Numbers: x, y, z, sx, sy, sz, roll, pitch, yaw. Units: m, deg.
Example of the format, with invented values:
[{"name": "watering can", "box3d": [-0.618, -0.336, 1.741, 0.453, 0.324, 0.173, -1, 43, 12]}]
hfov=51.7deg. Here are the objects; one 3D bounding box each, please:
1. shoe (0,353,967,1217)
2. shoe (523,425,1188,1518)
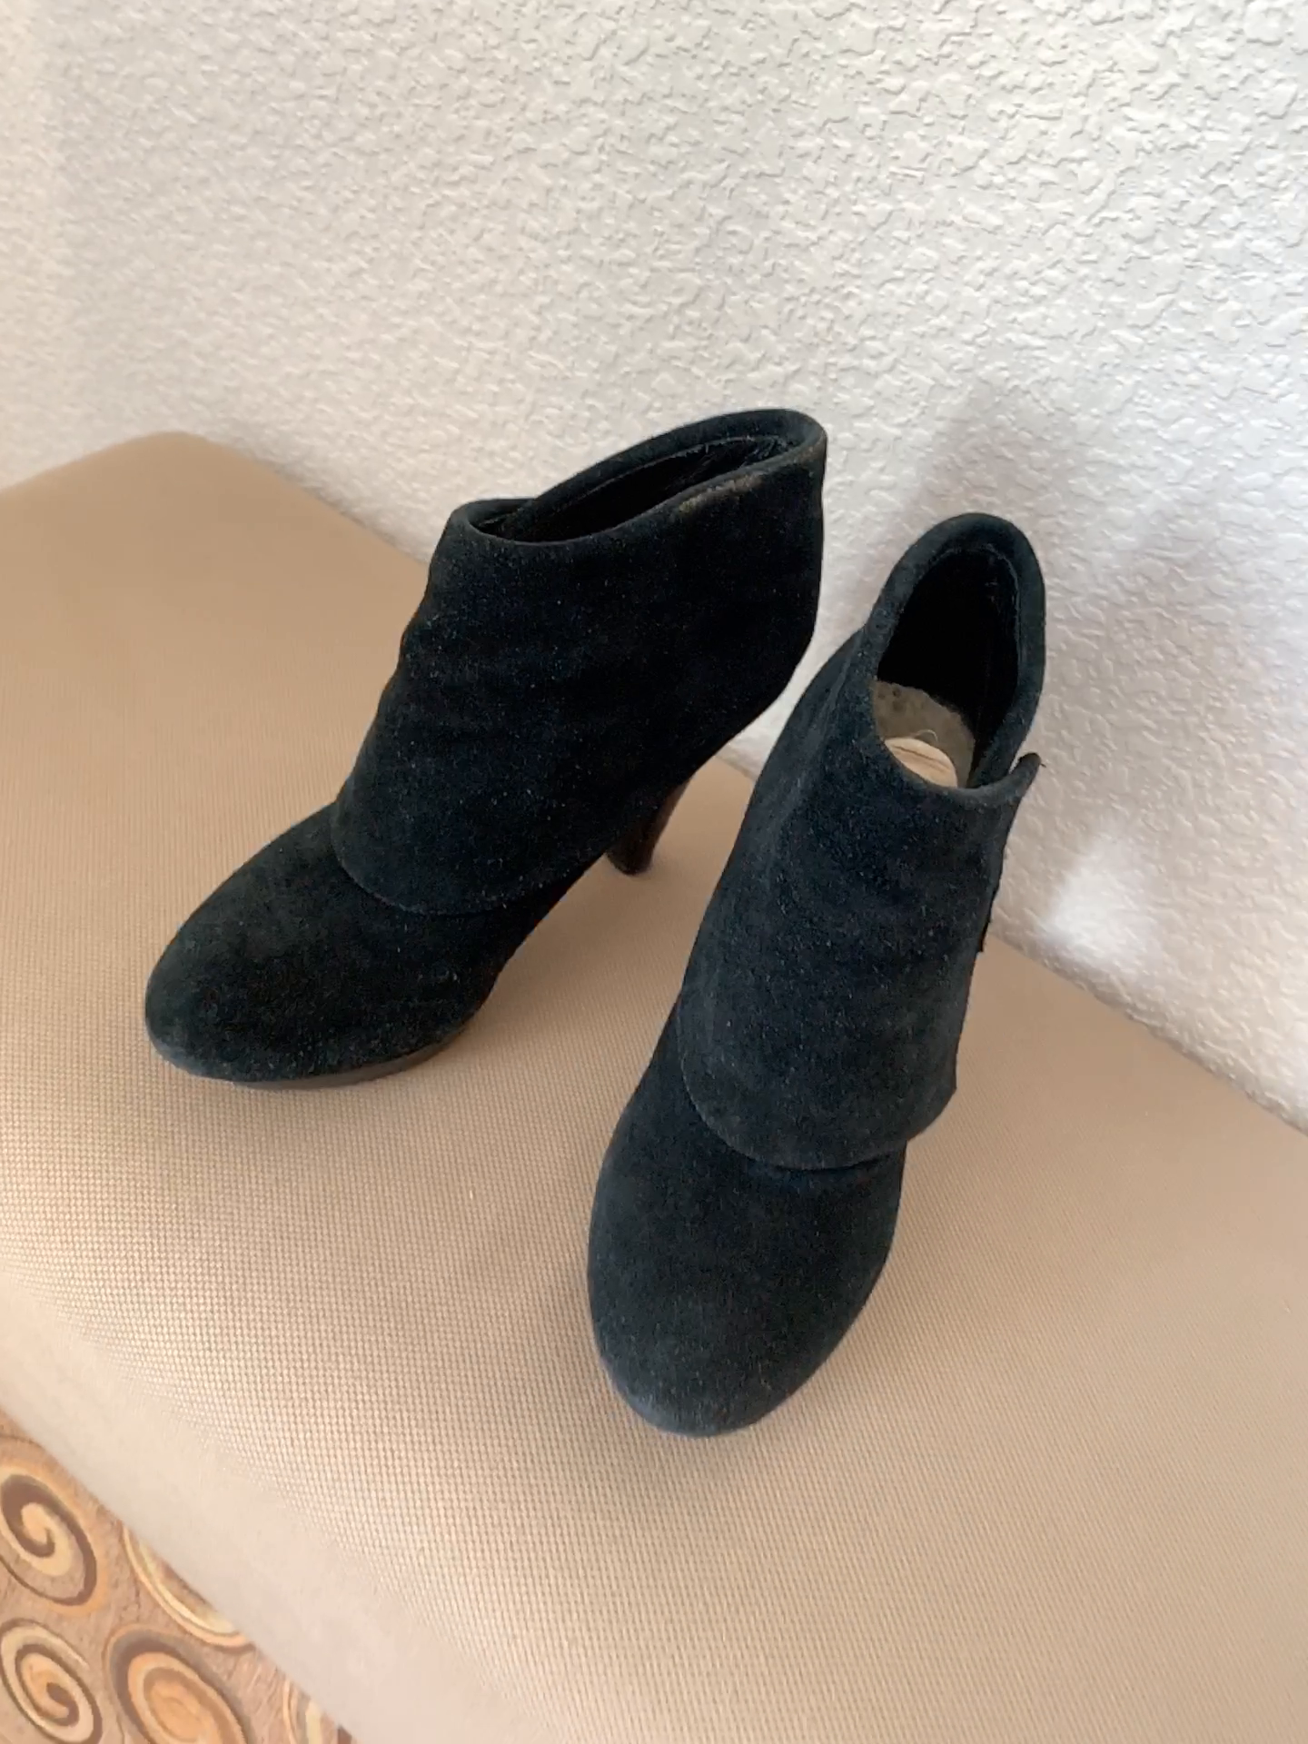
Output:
[{"name": "shoe", "box3d": [-0.044, -0.029, 0.383, 0.218, 0.166, 0.090, -26, 61, -31]}, {"name": "shoe", "box3d": [0.055, 0.021, 0.357, 0.090, 0.166, 0.218, 20, 48, 2]}]
